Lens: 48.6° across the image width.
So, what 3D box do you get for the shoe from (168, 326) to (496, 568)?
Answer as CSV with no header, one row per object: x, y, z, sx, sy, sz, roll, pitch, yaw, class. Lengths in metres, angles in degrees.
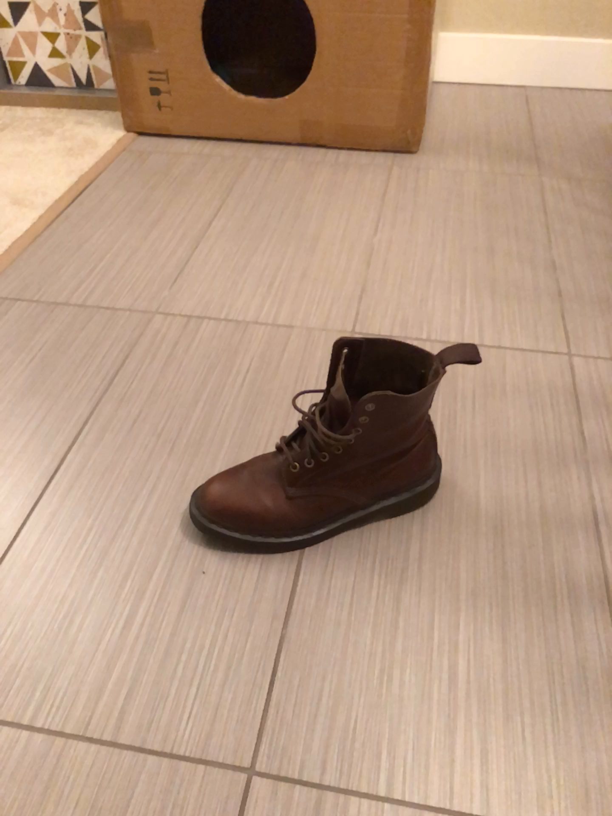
0.018,0.039,0.677,0.282,0.179,0.116,-6,42,-7,shoe
